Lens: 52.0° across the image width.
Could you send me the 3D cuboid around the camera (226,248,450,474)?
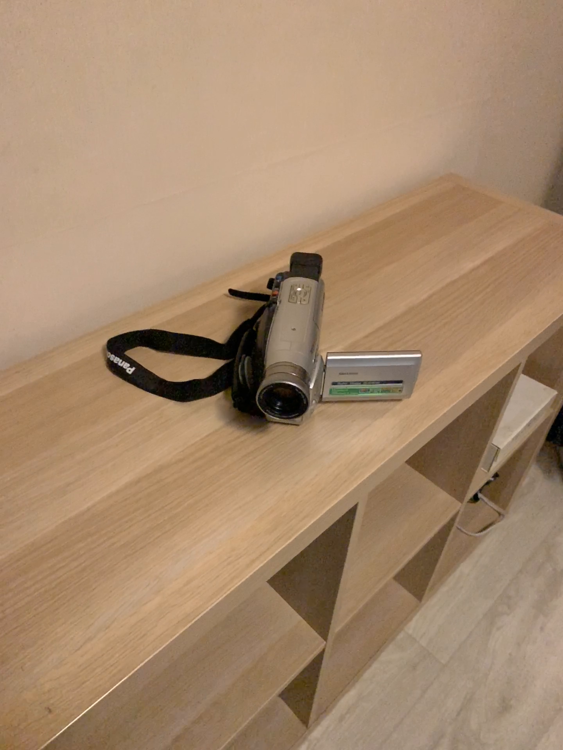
[{"bbox_3d":[0.059,-0.029,0.650,0.202,0.109,0.248,5,40,3],"label":"camera"}]
